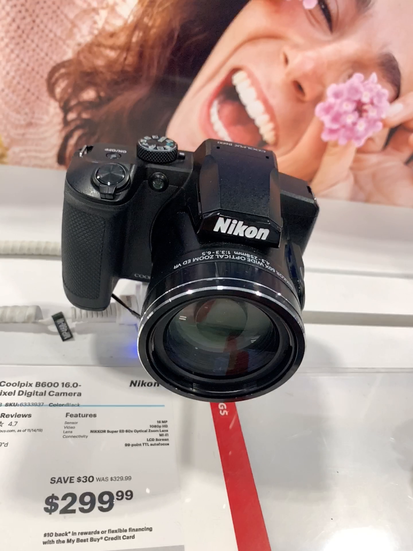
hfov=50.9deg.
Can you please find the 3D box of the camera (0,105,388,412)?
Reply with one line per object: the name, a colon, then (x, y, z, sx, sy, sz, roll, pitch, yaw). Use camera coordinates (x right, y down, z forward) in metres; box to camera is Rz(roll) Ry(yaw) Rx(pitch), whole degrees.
camera: (-0.010, -0.011, 0.195, 0.120, 0.080, 0.100, 8, 36, -9)
